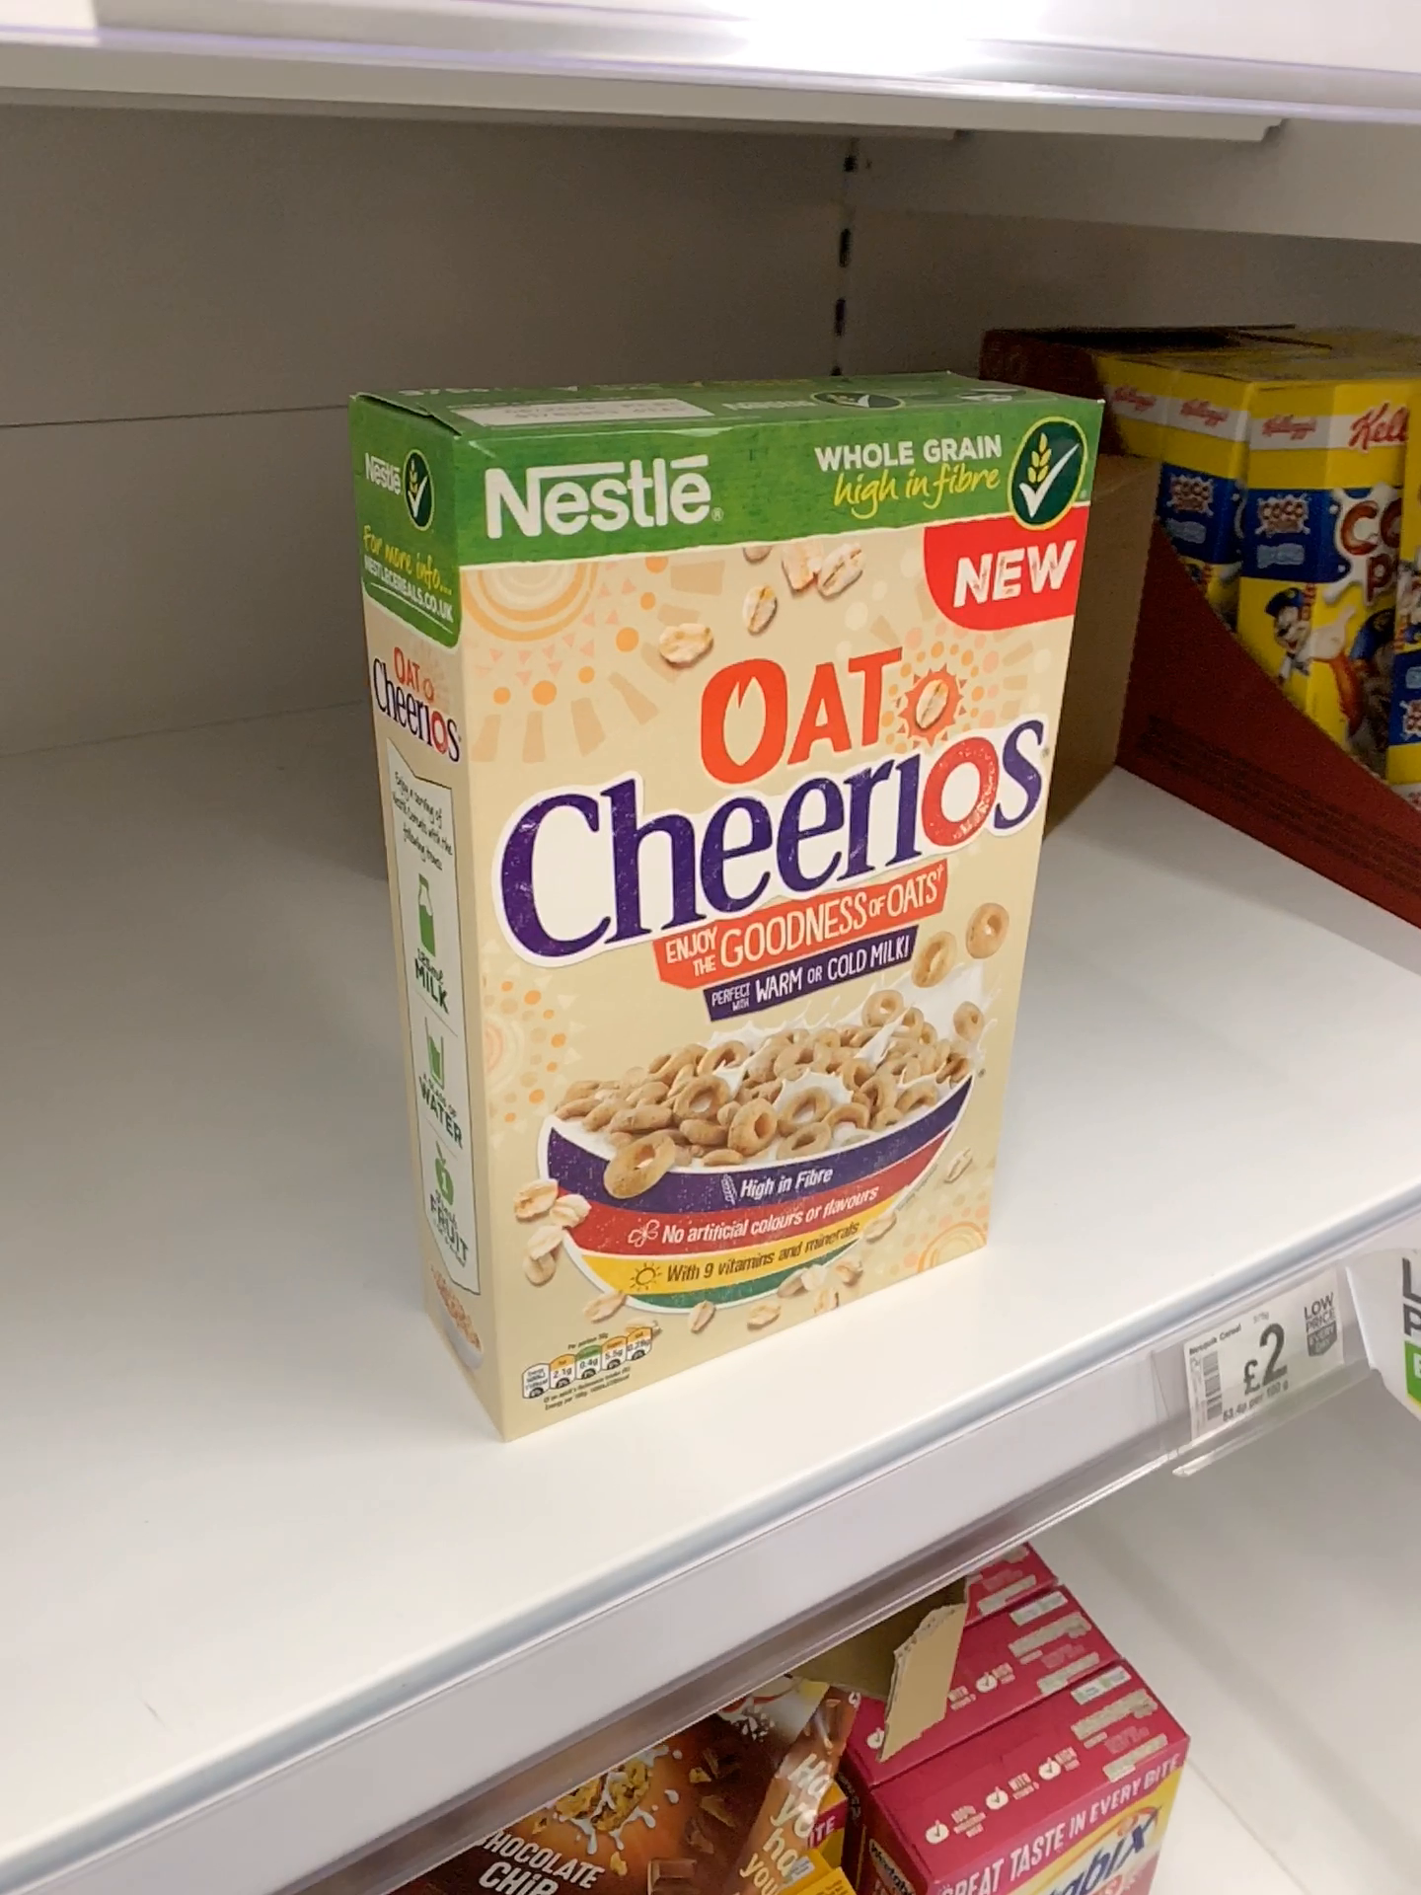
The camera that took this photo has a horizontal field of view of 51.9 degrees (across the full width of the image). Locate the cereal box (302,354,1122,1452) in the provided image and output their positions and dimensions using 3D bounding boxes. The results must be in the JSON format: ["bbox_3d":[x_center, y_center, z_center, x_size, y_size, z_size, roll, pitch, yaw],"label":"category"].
[{"bbox_3d":[0.002,-0.015,0.437,0.201,0.287,0.070,-14,32,-28],"label":"cereal box"}]
